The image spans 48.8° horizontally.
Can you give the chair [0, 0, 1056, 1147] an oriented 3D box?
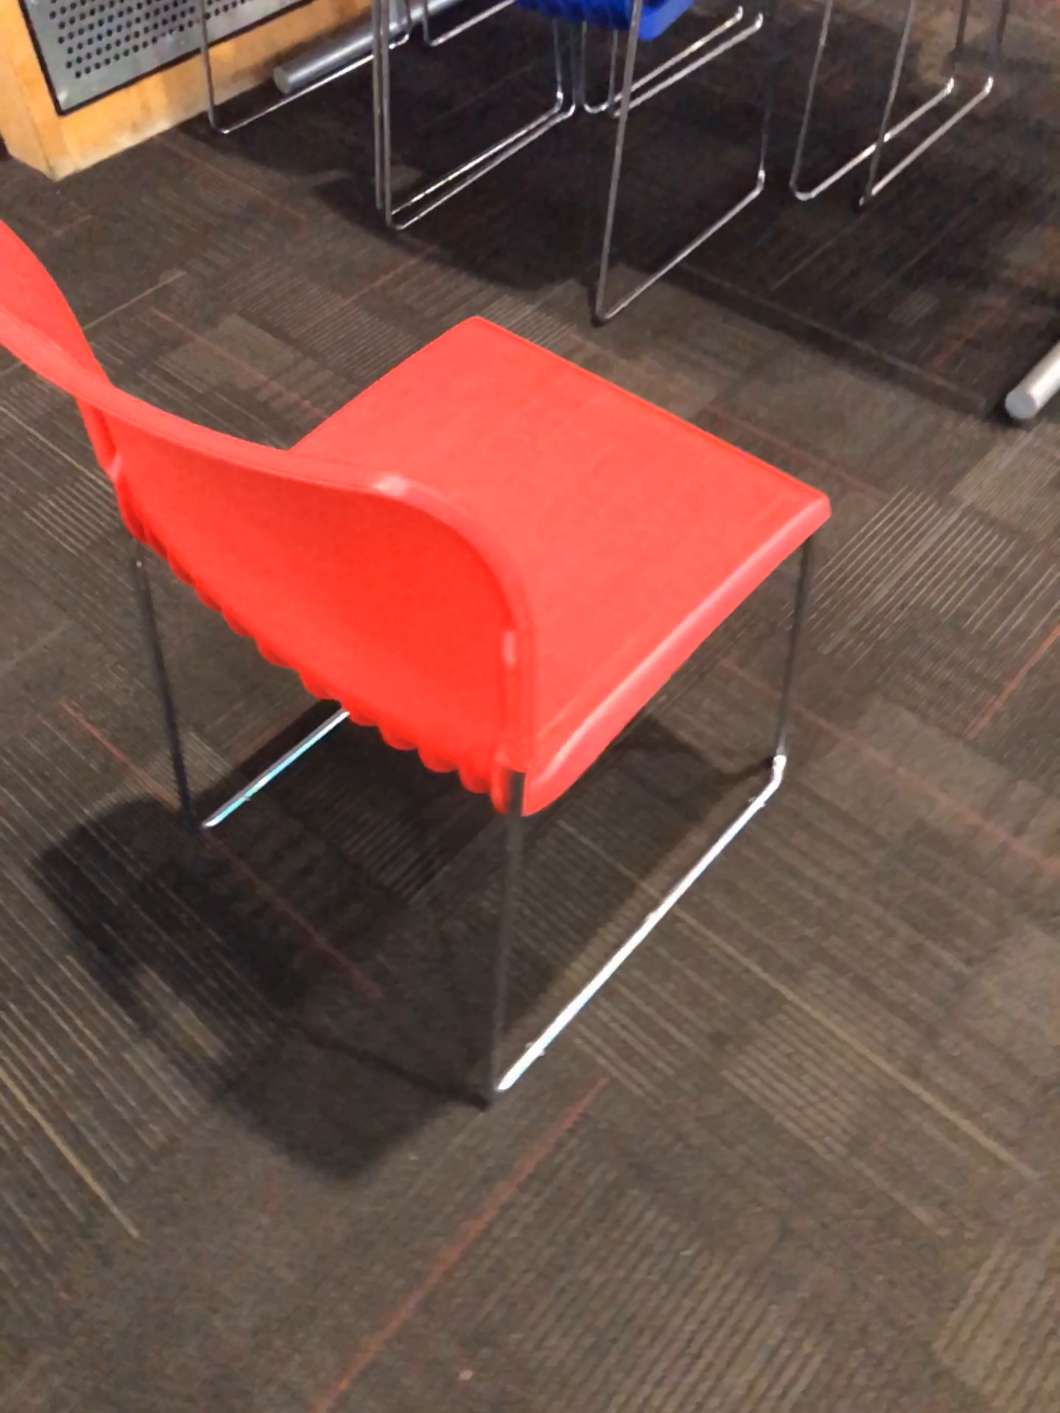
[{"bbox_3d":[-0.069,-0.156,1.030,0.561,0.768,0.611,36,62,26],"label":"chair"}]
